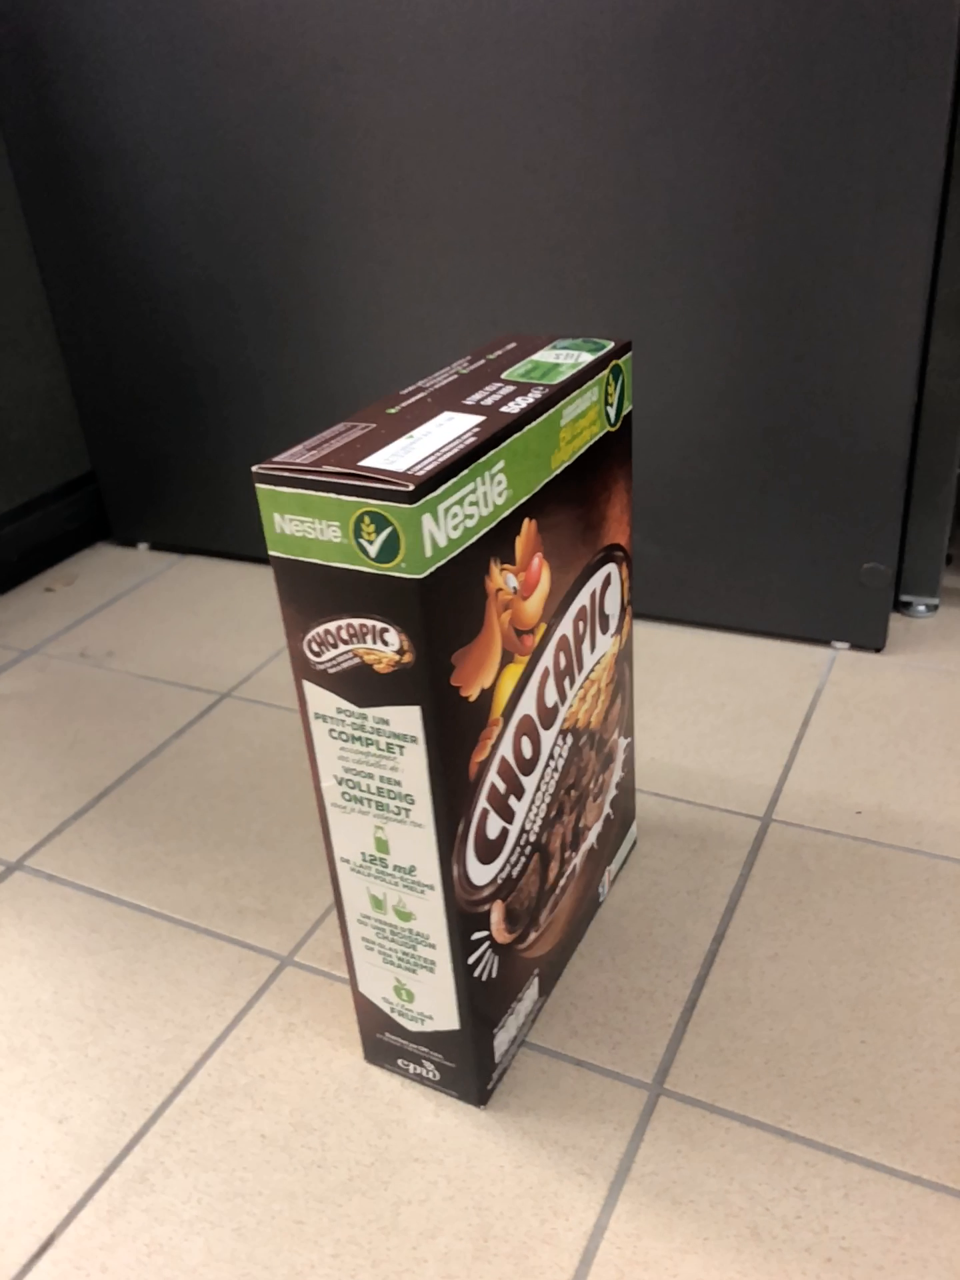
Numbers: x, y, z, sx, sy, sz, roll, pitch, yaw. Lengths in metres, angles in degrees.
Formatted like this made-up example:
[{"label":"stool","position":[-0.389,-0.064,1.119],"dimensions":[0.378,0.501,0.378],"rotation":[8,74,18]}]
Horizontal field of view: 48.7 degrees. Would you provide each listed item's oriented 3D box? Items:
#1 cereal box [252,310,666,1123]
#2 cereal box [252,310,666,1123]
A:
[{"label":"cereal box","position":[0.014,0.024,0.469],"dimensions":[0.070,0.288,0.201],"rotation":[10,31,26]},{"label":"cereal box","position":[0.014,0.024,0.469],"dimensions":[0.070,0.288,0.201],"rotation":[10,31,26]}]
